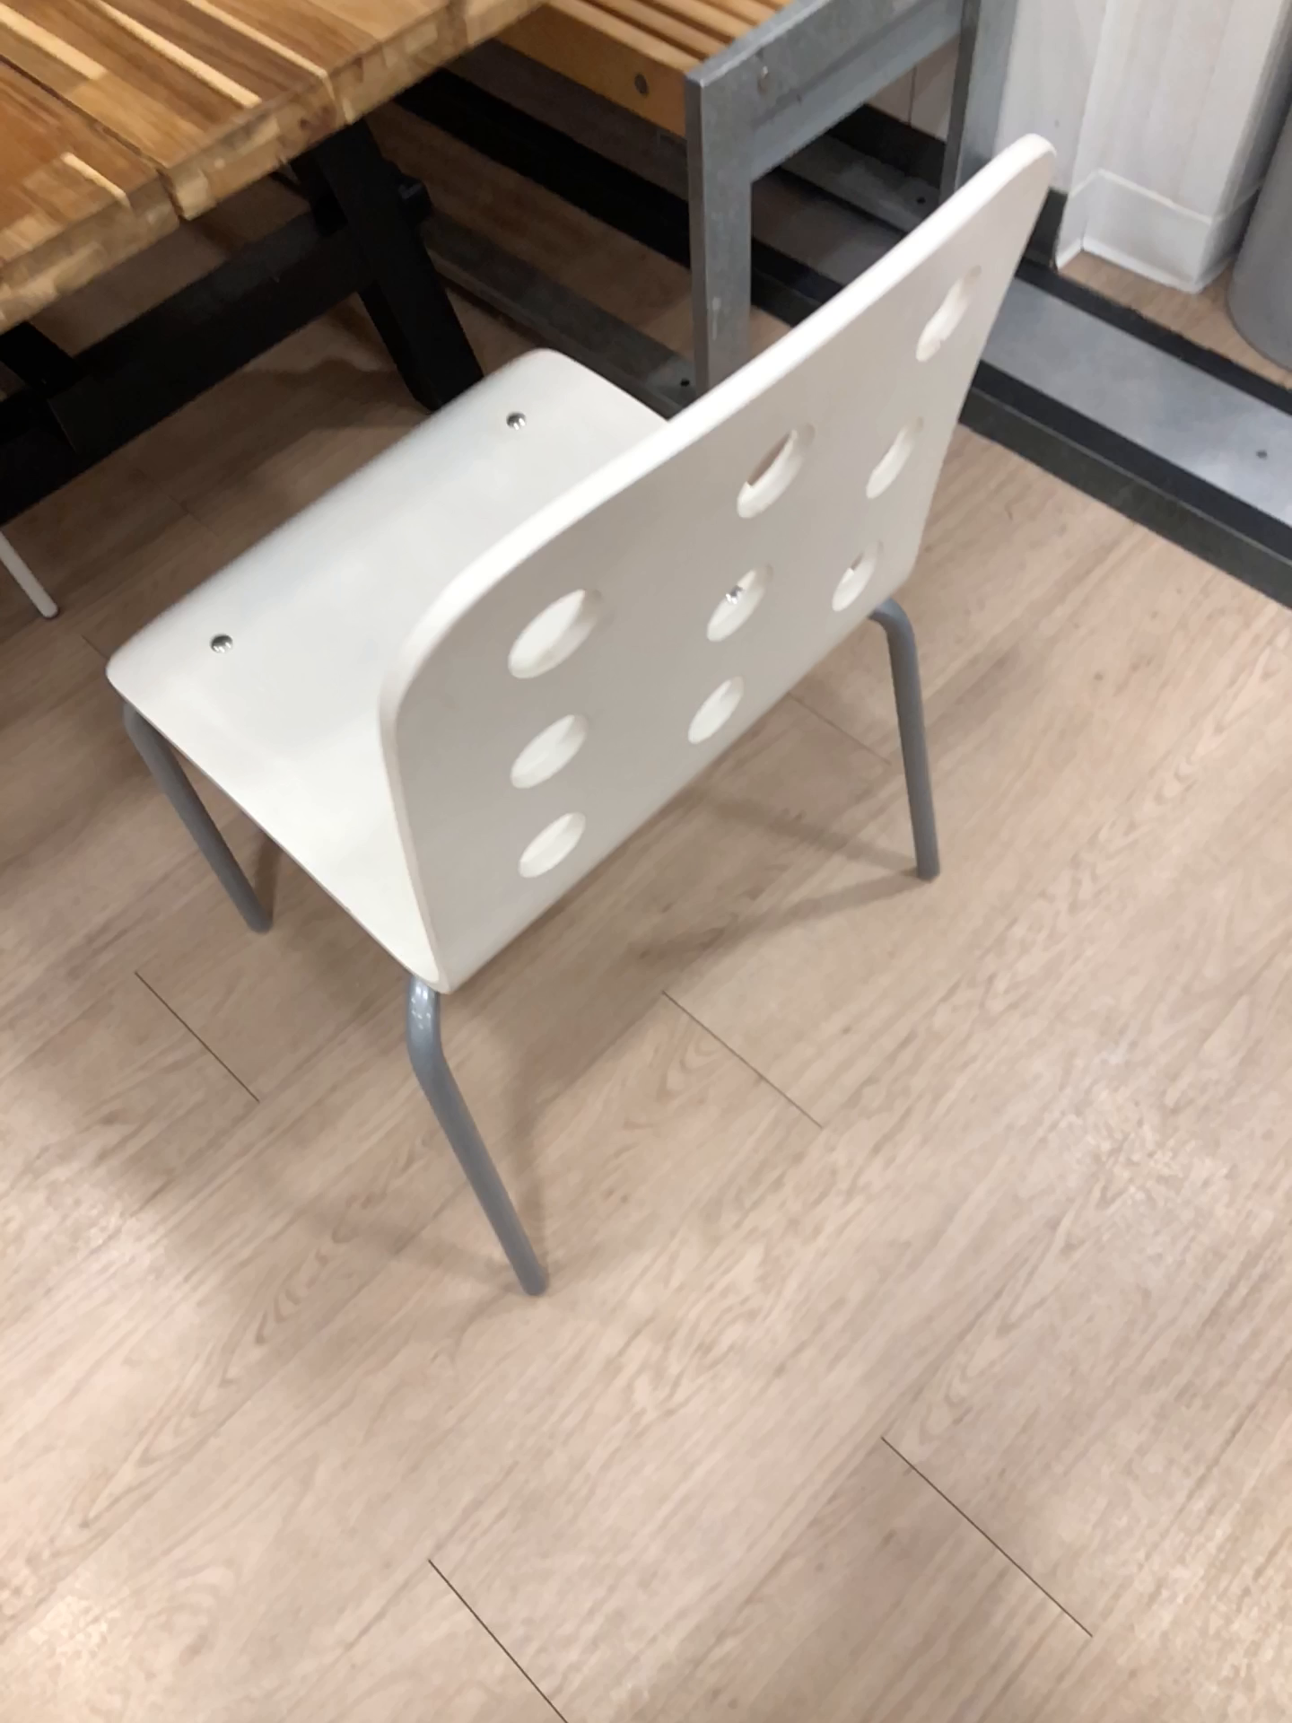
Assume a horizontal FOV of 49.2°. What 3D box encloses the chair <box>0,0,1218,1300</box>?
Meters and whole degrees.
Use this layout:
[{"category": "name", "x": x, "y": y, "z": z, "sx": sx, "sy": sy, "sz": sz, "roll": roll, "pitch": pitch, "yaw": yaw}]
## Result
[{"category": "chair", "x": -0.075, "y": -0.170, "z": 0.975, "sx": 0.491, "sy": 0.717, "sz": 0.571, "roll": 36, "pitch": 68, "yaw": 22}]
